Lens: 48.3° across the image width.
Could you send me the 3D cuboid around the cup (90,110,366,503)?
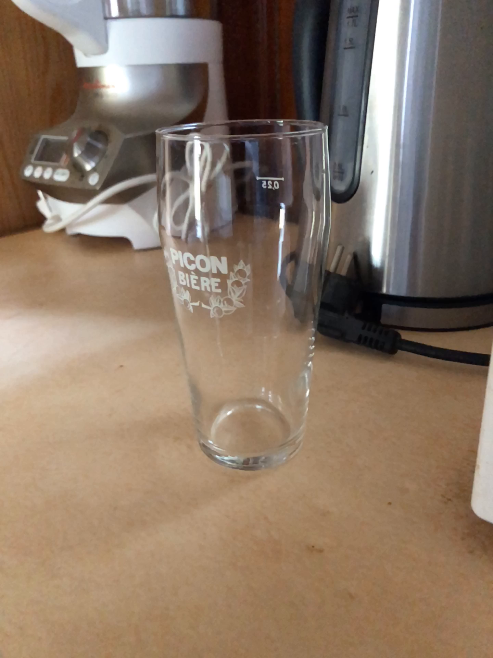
[{"bbox_3d":[-0.001,-0.015,0.219,0.070,0.129,0.070,-2,24,1],"label":"cup"}]
